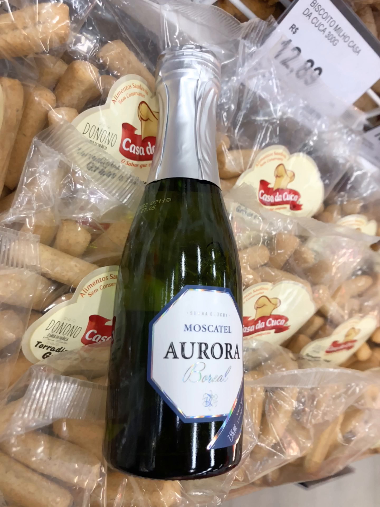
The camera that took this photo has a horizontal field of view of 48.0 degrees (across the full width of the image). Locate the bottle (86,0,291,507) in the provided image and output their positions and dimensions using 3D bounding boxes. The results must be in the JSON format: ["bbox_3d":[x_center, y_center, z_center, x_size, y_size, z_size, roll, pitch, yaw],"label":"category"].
[{"bbox_3d":[0.003,-0.011,0.184,0.060,0.050,0.200,10,80,-45],"label":"bottle"}]
